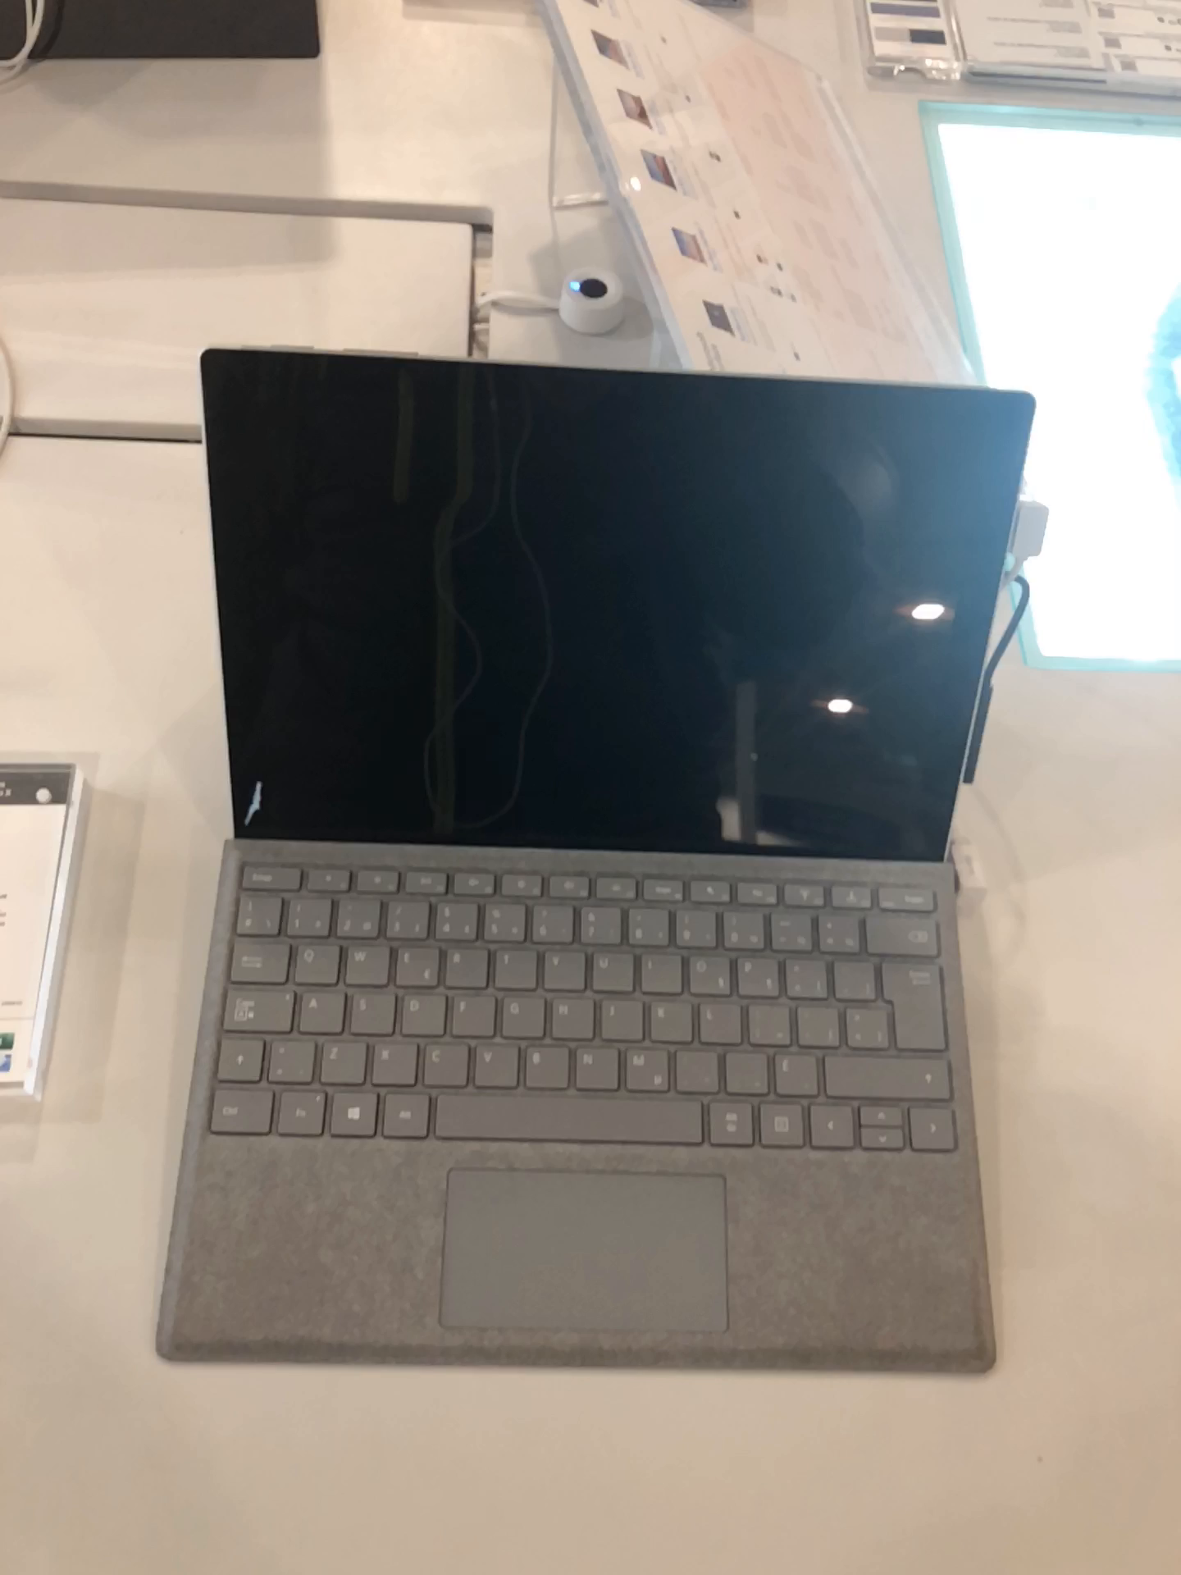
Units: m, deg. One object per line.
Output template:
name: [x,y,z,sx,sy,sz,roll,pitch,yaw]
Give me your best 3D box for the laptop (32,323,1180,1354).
laptop: [0.006,0.023,0.441,0.278,0.148,0.297,2,66,-3]
